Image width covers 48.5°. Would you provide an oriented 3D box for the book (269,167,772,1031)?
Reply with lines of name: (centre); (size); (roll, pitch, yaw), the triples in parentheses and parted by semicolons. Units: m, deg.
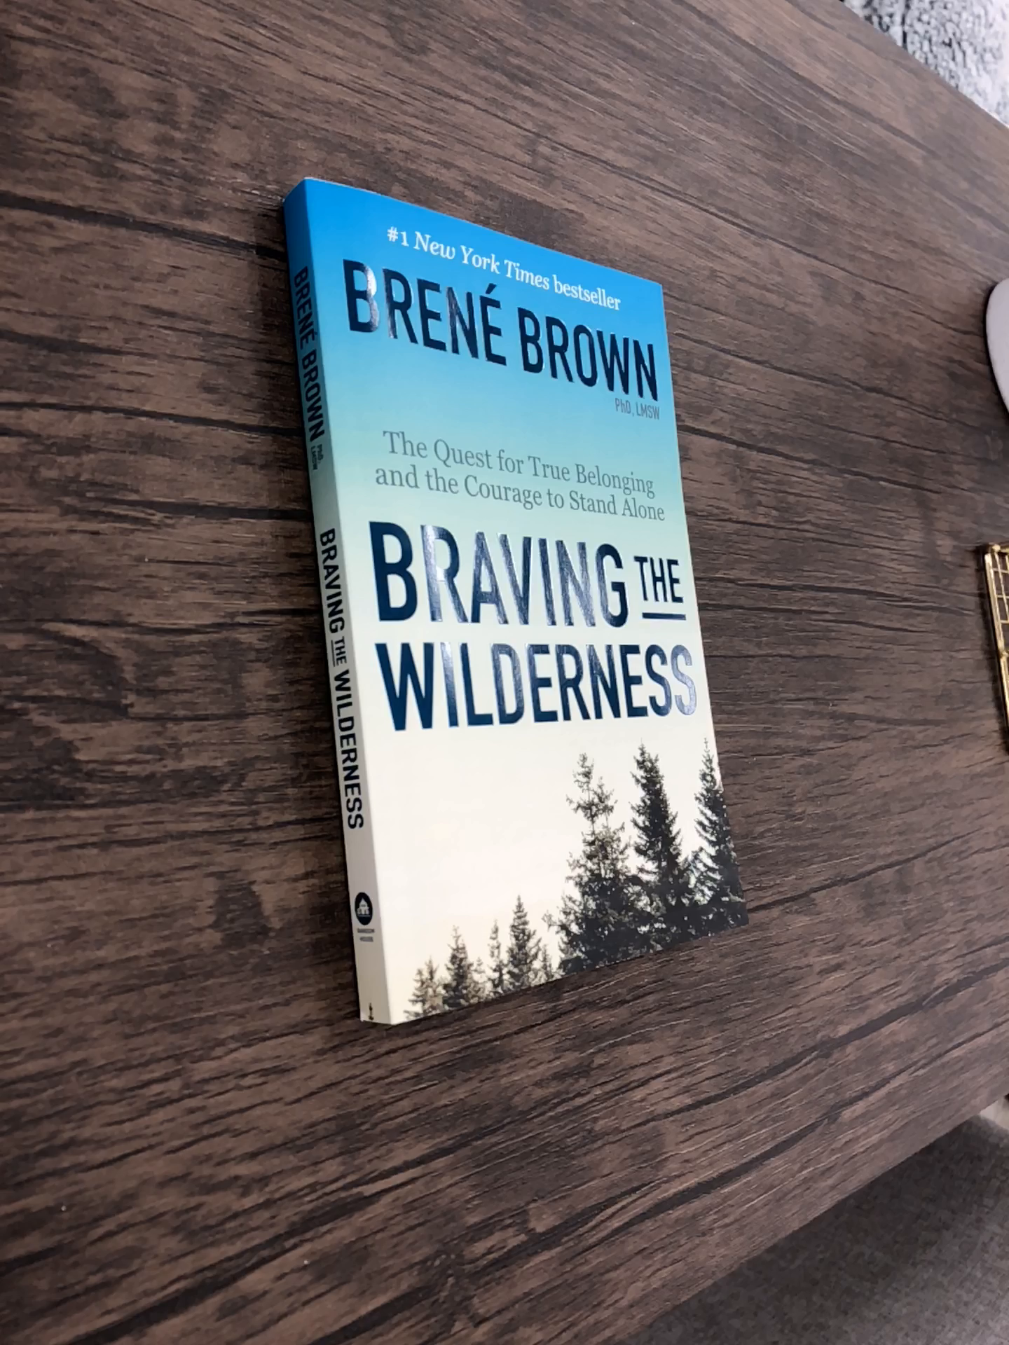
book: (0.010, -0.019, 0.295); (0.131, 0.021, 0.191); (-2, 83, -41)
